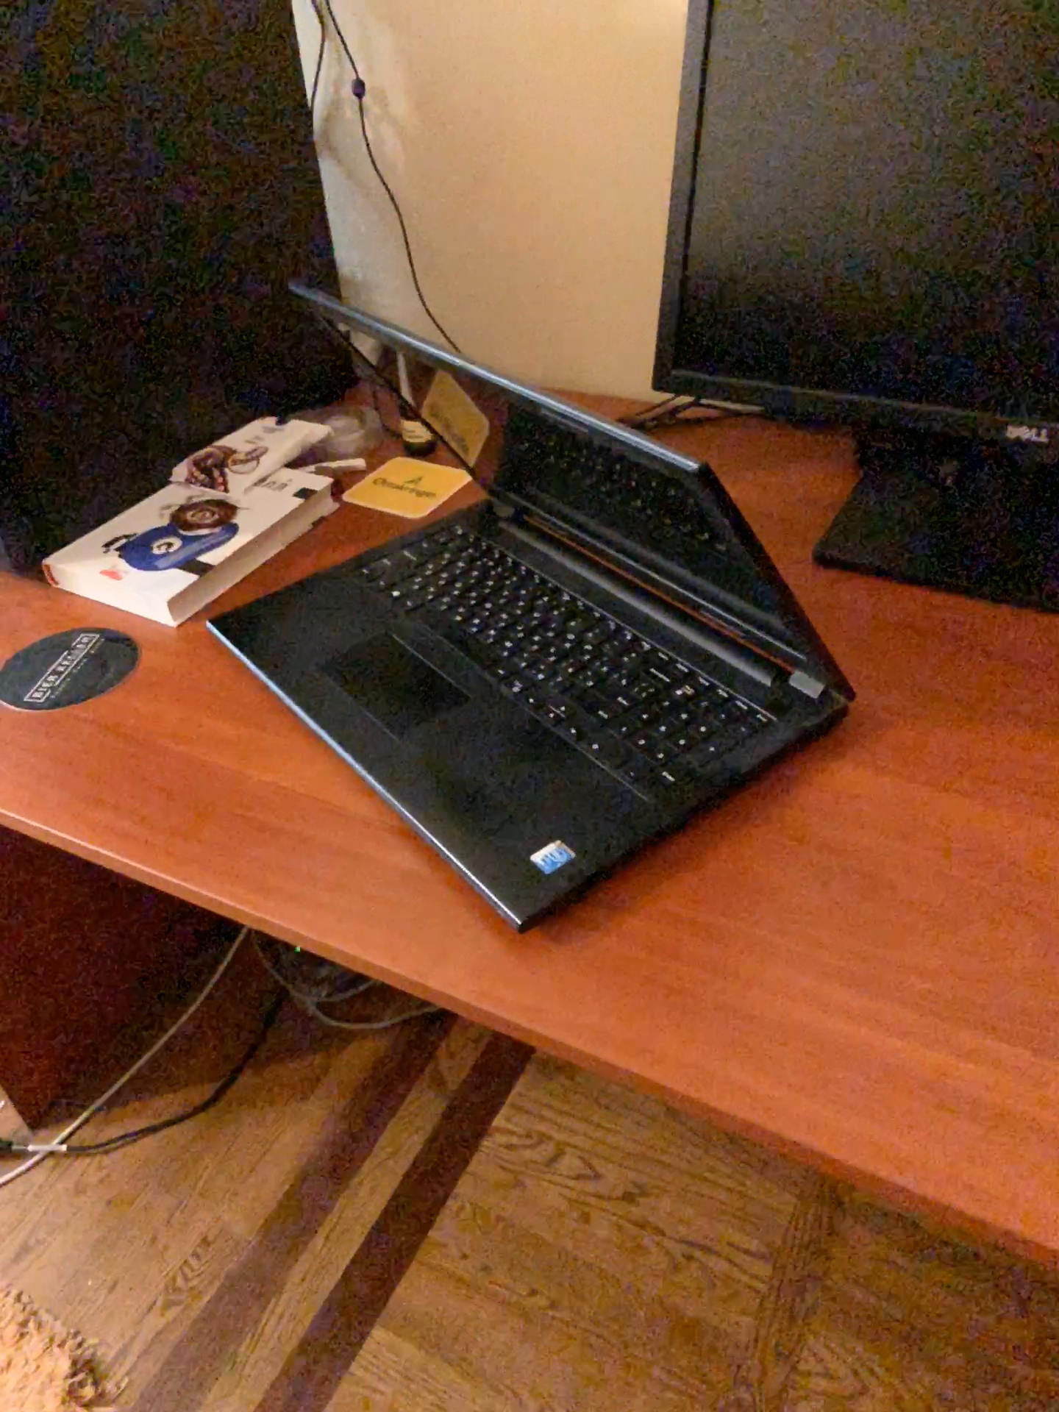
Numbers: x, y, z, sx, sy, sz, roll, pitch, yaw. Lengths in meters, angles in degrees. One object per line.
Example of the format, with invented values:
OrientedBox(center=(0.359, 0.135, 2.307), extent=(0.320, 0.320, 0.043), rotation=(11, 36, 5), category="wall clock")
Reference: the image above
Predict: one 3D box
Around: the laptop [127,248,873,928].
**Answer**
OrientedBox(center=(-0.033, -0.108, 0.667), extent=(0.246, 0.202, 0.375), rotation=(-30, 45, -26), category="laptop")
